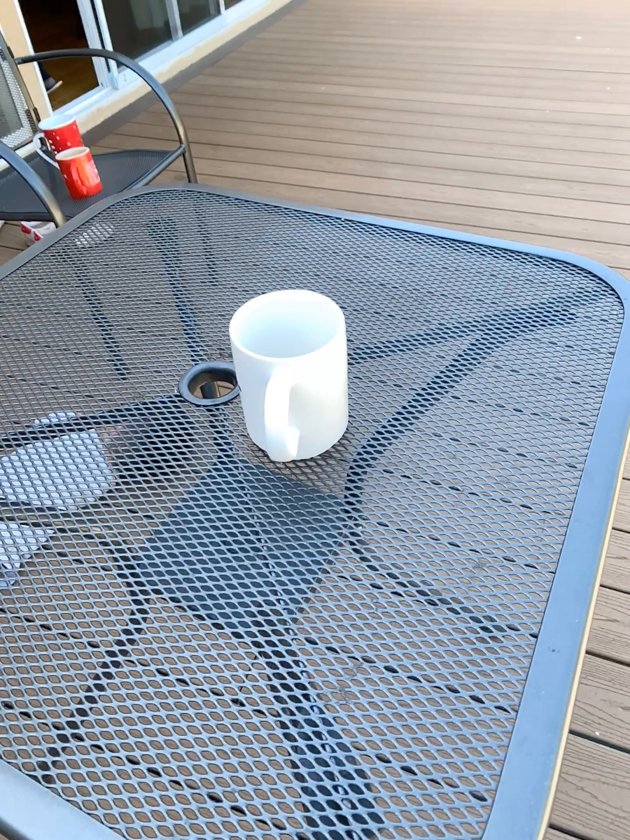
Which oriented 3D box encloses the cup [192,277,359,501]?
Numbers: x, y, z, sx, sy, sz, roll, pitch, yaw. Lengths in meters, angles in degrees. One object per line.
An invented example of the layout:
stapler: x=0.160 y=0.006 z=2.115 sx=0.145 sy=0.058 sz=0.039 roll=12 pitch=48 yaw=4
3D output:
cup: x=-0.021 y=-0.026 z=0.497 sx=0.100 sy=0.109 sz=0.131 roll=2 pitch=45 yaw=6
